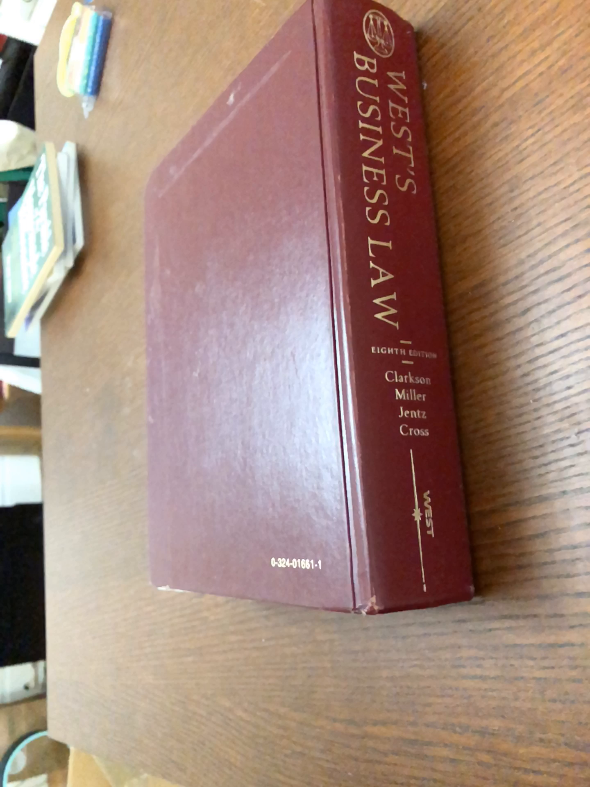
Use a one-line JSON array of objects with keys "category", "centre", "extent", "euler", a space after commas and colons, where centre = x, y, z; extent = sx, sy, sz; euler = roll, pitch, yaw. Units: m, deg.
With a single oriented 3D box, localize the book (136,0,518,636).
[{"category": "book", "centre": [-0.010, -0.038, 0.356], "extent": [0.221, 0.070, 0.290], "euler": [-18, 71, 53]}]
